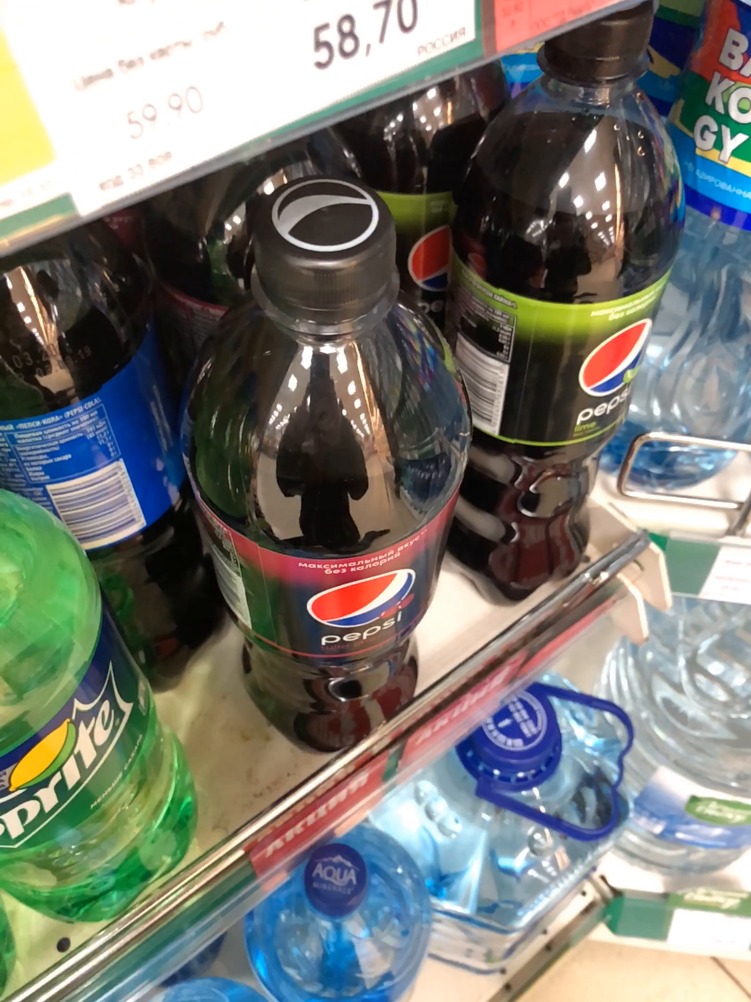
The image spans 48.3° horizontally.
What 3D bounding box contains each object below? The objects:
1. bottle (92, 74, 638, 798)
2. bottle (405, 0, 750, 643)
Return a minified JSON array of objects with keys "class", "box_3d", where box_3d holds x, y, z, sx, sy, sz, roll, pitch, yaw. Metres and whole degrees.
[{"class":"bottle","box_3d":[-0.011,0.012,0.276,0.086,0.256,0.077,-20,61,-16]},{"class":"bottle","box_3d":[0.073,-0.053,0.332,0.086,0.263,0.077,-20,56,-16]}]
